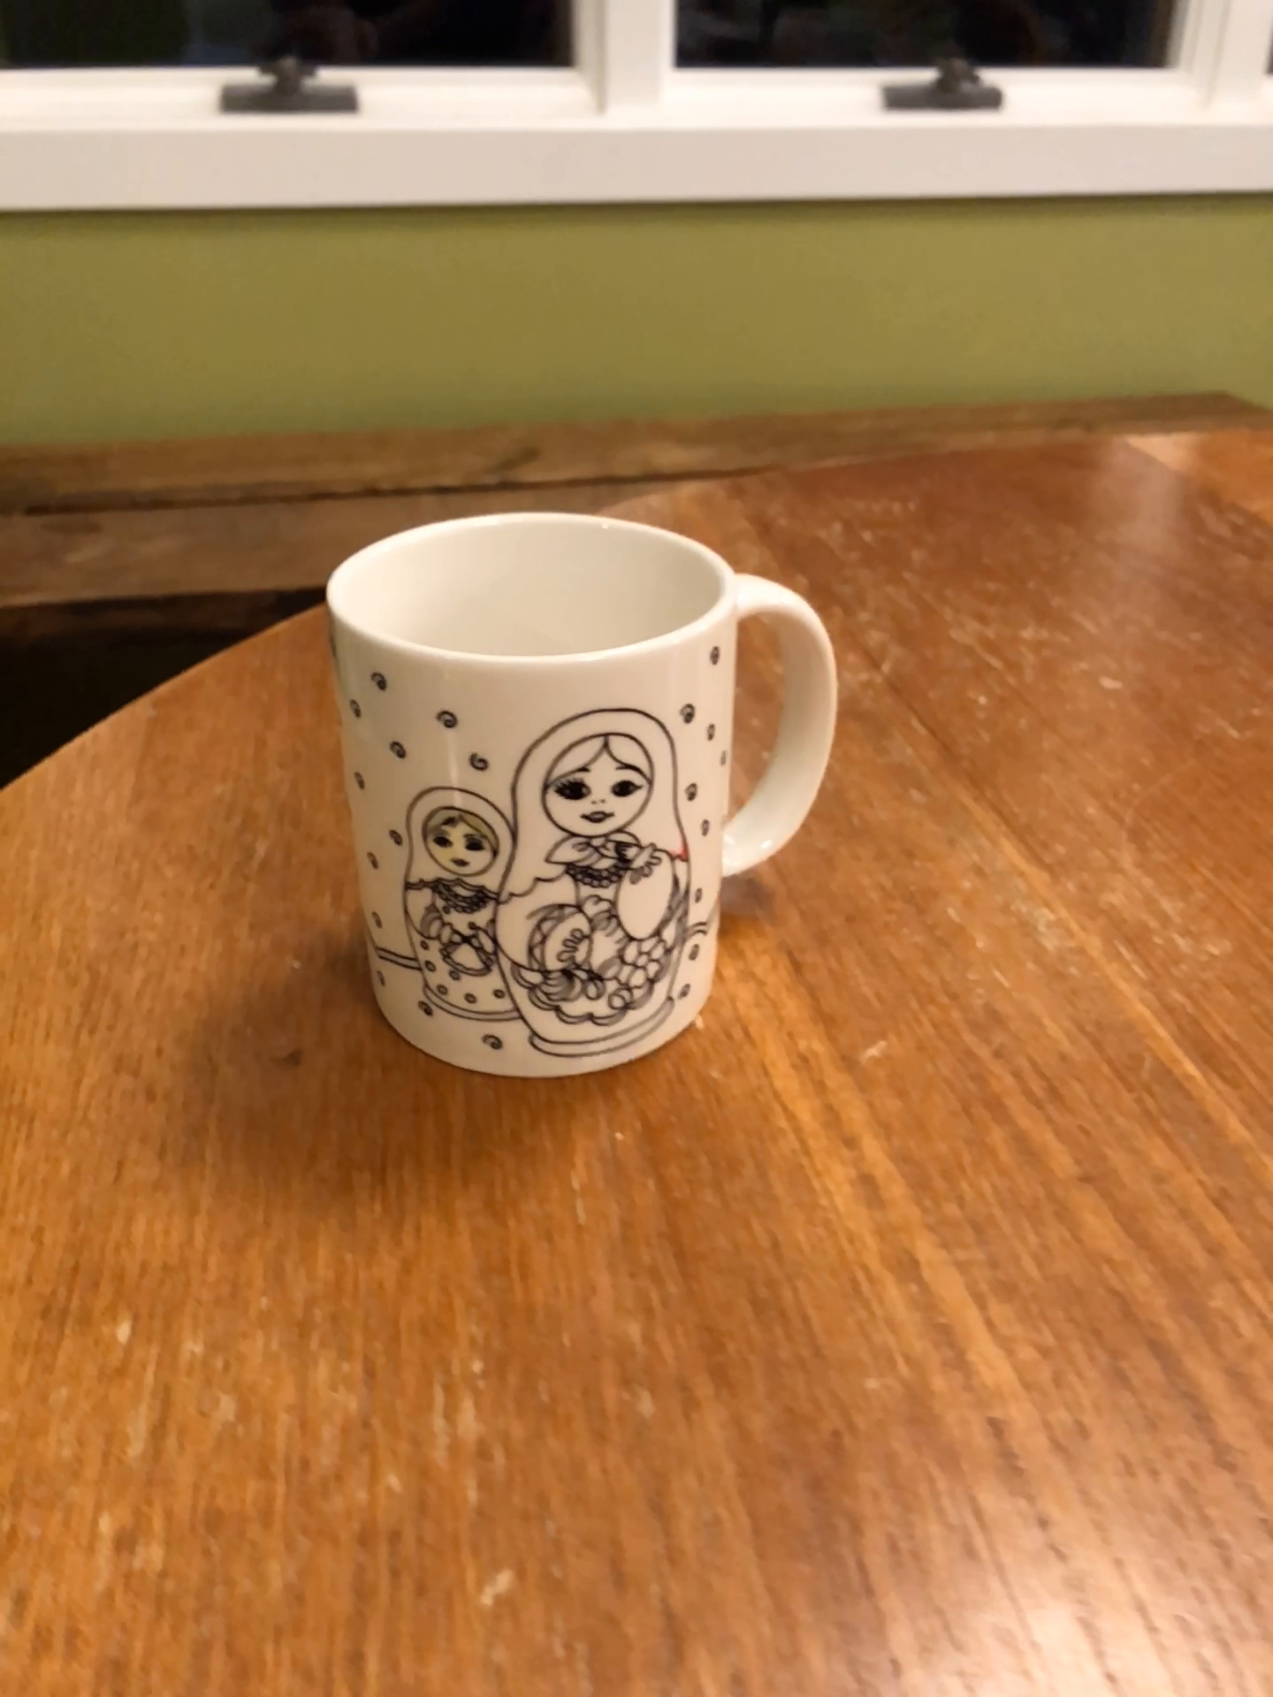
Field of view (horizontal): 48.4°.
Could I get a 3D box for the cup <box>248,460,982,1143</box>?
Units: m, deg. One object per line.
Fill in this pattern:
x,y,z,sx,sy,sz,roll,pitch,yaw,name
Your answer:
-0.006,-0.019,0.320,0.127,0.099,0.088,-16,35,-25,cup
